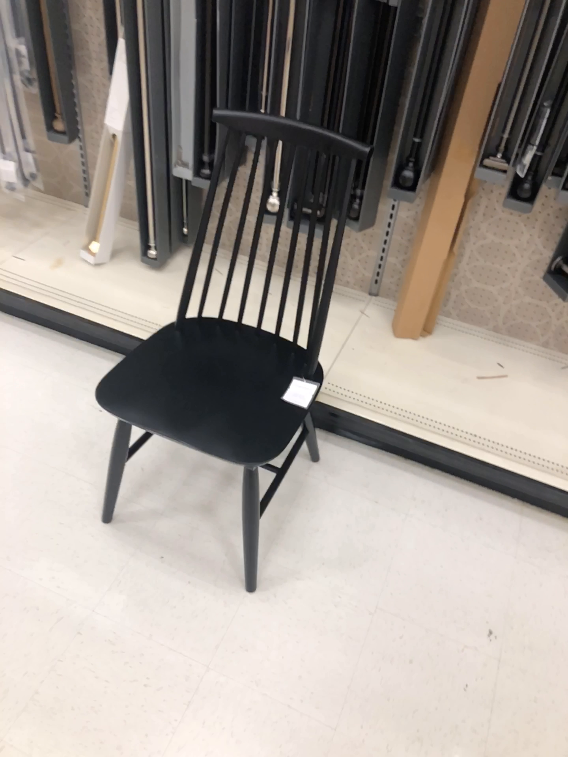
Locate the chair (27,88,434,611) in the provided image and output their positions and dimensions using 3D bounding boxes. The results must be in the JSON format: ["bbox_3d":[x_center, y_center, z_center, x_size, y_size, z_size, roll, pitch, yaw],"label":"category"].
[{"bbox_3d":[-0.089,-0.059,1.442,0.517,0.909,0.611,20,43,15],"label":"chair"}]
